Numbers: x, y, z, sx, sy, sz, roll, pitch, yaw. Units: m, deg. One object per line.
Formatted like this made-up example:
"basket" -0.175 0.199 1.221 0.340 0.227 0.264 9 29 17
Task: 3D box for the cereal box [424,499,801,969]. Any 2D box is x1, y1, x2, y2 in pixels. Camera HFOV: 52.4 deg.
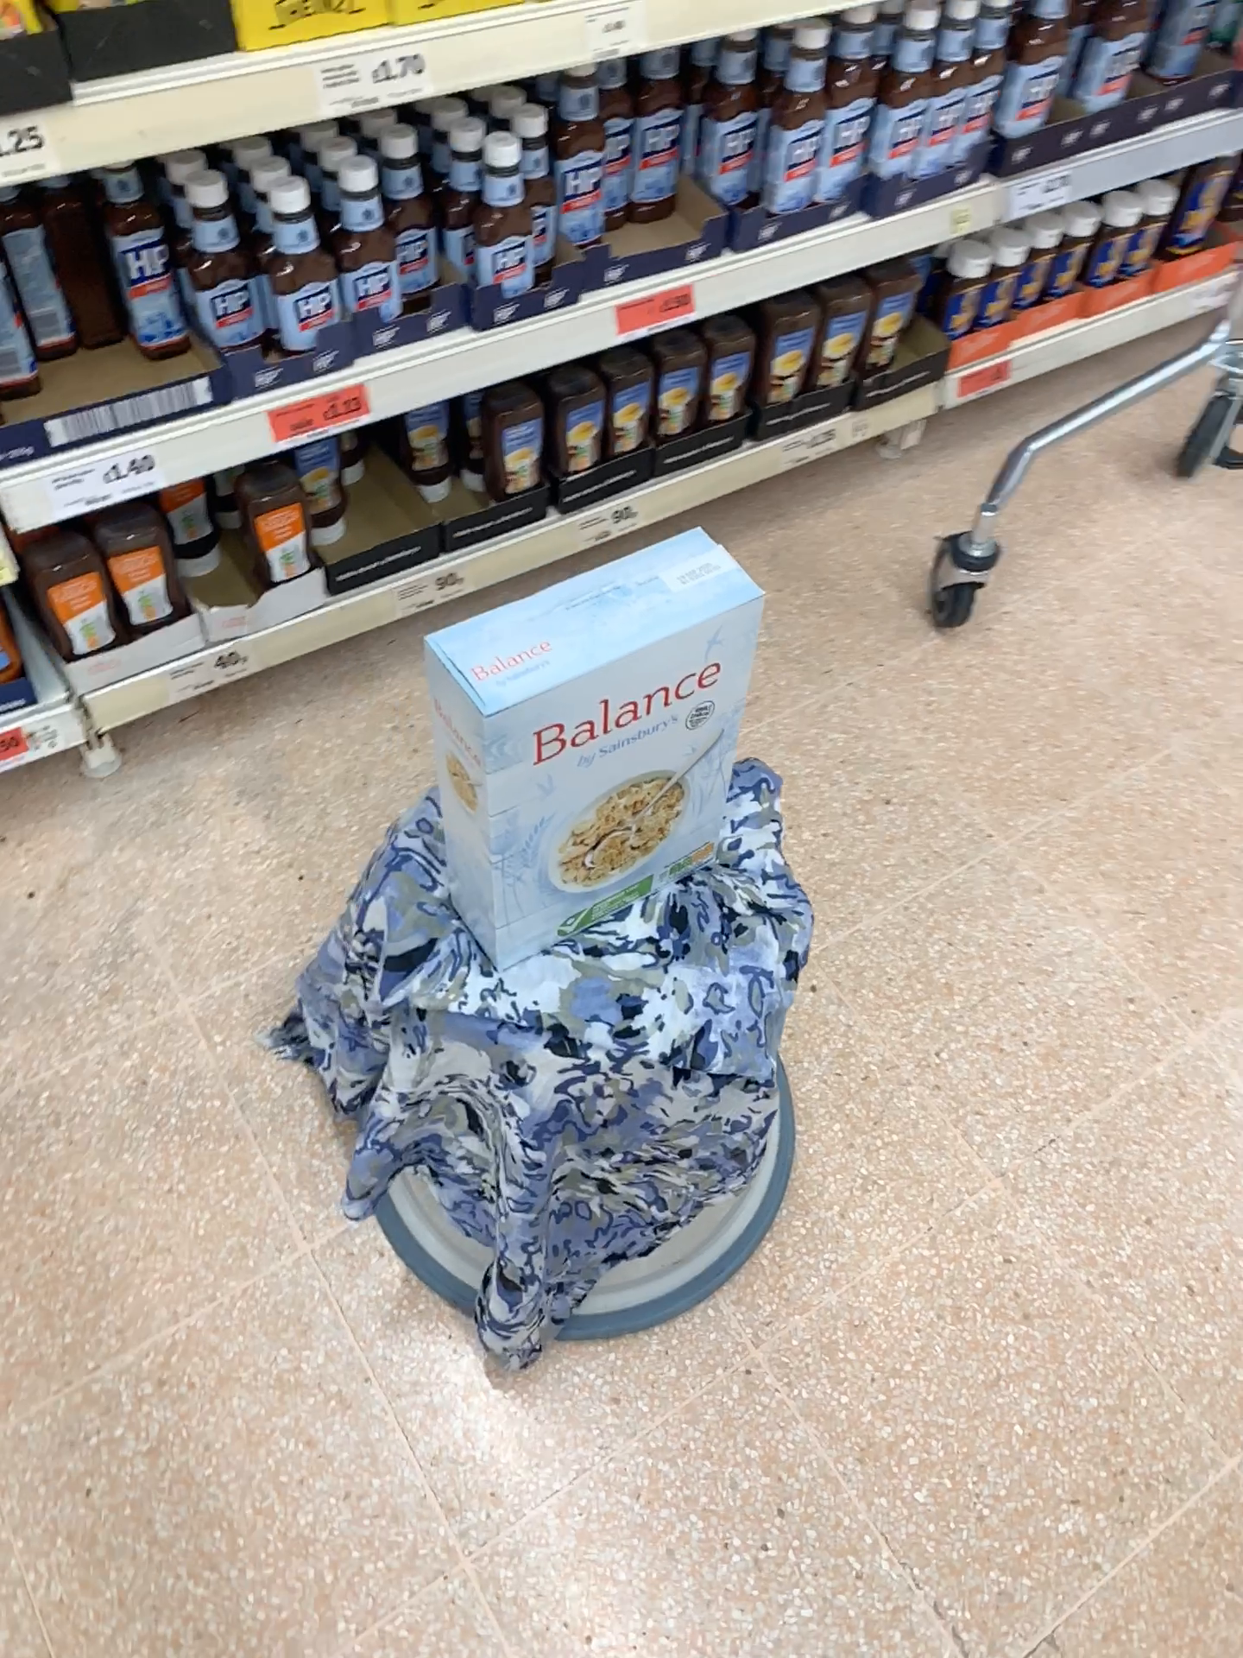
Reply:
"cereal box" -0.010 -0.052 0.830 0.211 0.278 0.070 -25 58 -22
